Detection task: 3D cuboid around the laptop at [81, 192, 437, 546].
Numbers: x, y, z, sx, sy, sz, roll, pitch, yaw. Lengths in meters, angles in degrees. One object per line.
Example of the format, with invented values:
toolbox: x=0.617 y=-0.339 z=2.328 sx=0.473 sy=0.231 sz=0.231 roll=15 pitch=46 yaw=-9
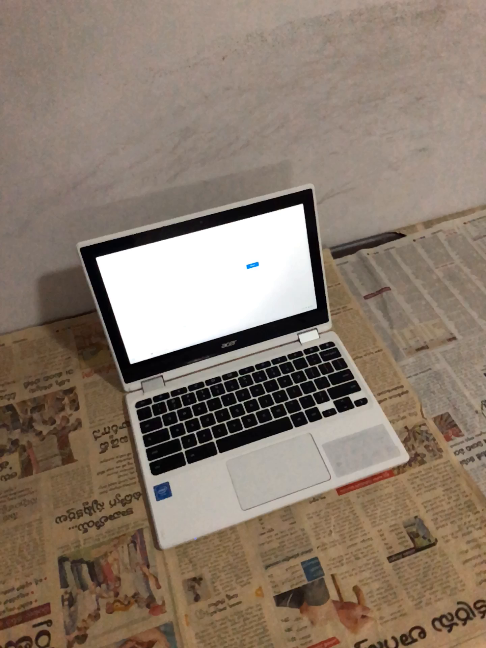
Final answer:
laptop: x=-0.003 y=0.033 z=0.583 sx=0.268 sy=0.168 sz=0.279 roll=-17 pitch=50 yaw=-10
